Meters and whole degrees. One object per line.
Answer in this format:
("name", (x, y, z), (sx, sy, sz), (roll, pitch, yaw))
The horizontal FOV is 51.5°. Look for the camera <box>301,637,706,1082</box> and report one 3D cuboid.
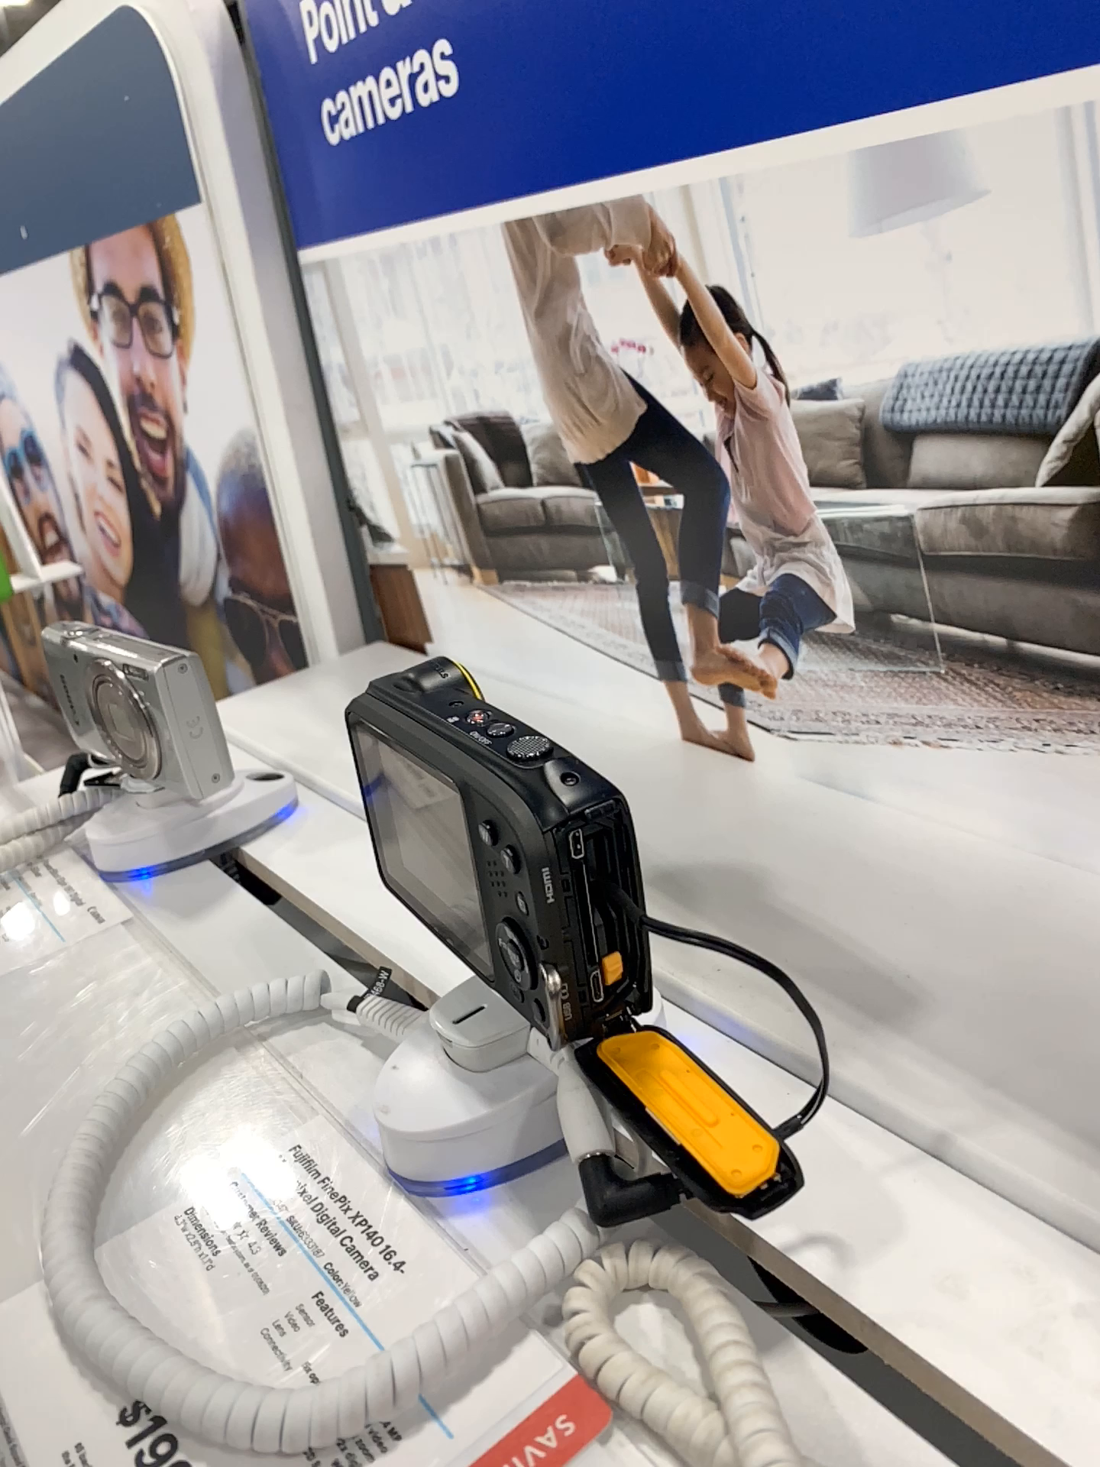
("camera", (-0.015, 0.023, 0.280), (0.040, 0.060, 0.110), (-21, 29, -29))
